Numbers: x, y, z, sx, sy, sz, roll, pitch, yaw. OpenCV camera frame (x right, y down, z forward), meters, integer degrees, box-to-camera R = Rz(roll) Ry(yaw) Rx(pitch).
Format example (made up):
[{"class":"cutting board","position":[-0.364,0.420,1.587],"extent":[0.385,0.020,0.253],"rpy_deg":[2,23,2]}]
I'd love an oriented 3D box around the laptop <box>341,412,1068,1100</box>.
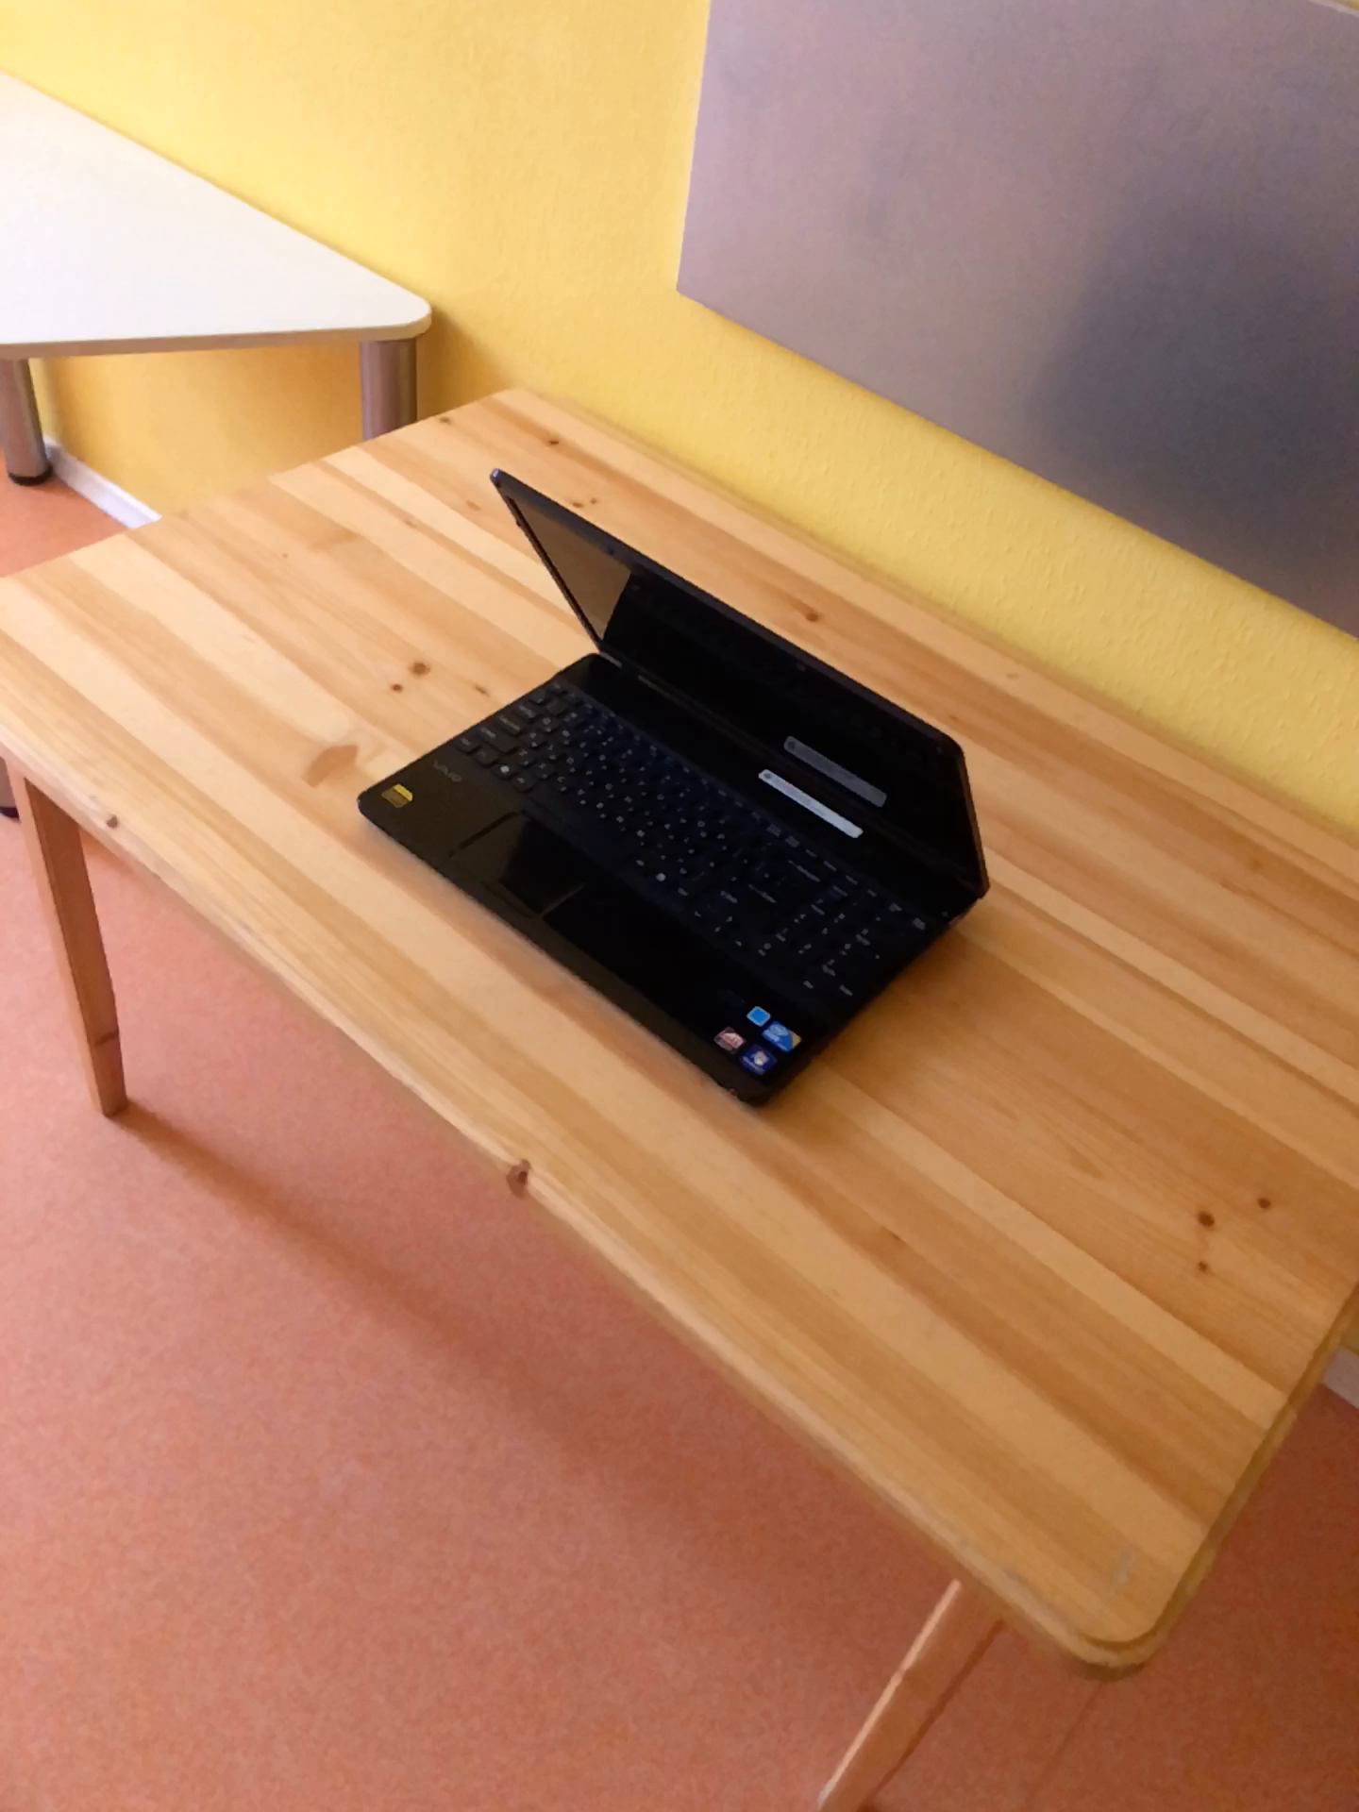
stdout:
[{"class":"laptop","position":[0.002,-0.113,0.958],"extent":[0.362,0.200,0.248],"rpy_deg":[35,51,24]}]
